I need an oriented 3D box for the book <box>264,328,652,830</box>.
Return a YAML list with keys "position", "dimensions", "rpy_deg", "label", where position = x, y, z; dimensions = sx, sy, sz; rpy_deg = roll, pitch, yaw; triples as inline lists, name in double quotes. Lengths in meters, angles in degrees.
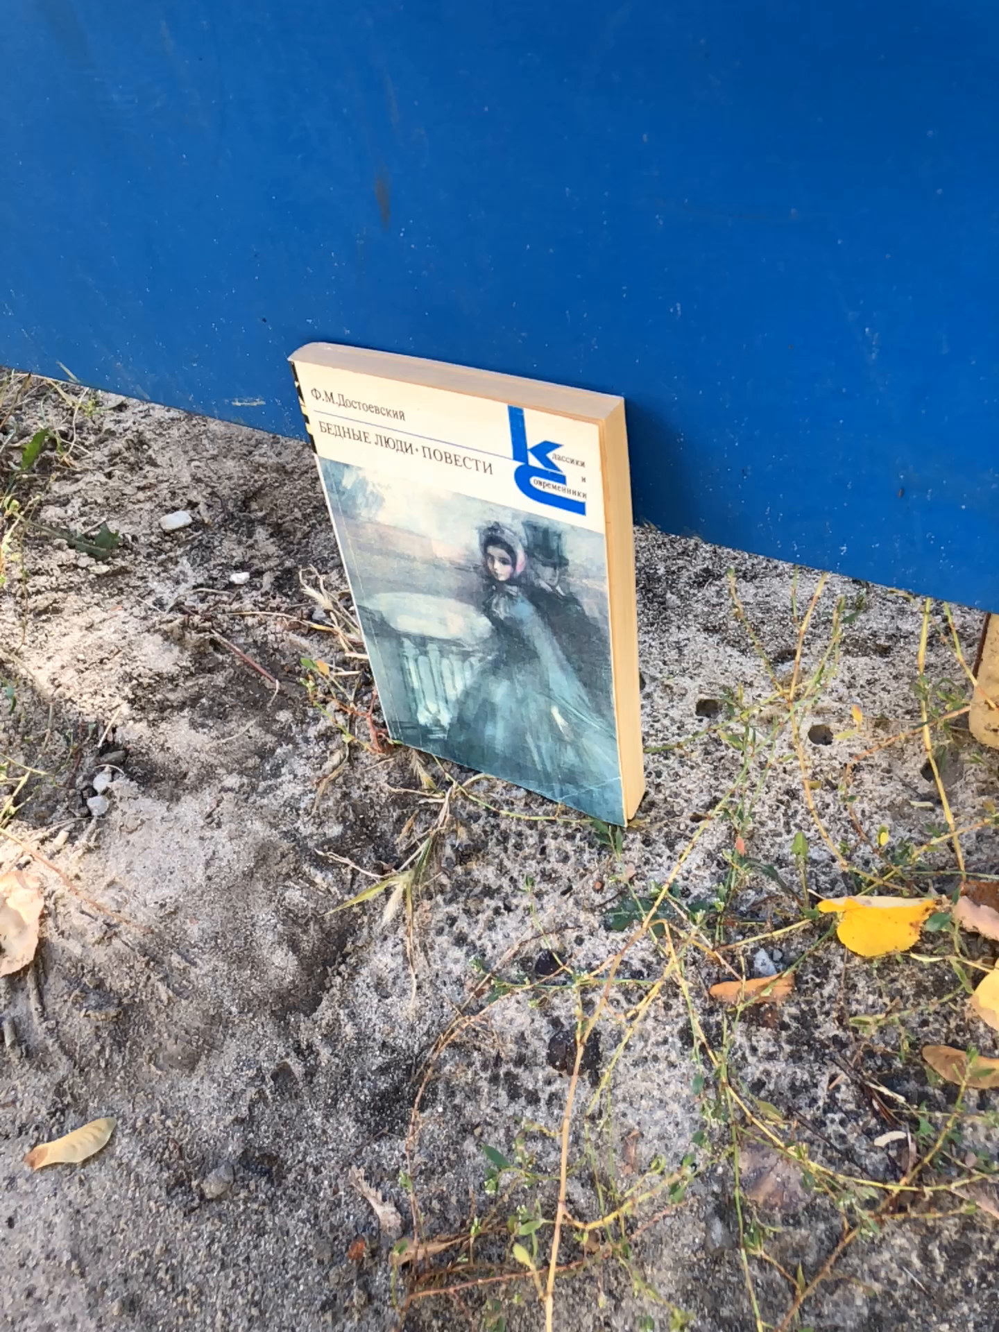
- position: [-0.008, -0.027, 0.418]
  dimensions: [0.127, 0.187, 0.026]
  rpy_deg: [18, 50, 26]
  label: "book"
